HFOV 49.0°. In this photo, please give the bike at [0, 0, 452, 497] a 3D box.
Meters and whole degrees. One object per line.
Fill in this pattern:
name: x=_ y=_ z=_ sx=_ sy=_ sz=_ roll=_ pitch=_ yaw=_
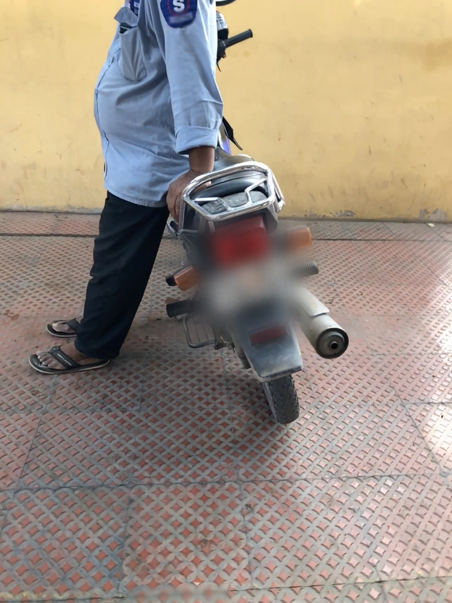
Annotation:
bike: x=-0.250 y=-0.426 z=1.763 sx=0.922 sy=1.007 sz=1.682 roll=-6 pitch=32 yaw=-16
